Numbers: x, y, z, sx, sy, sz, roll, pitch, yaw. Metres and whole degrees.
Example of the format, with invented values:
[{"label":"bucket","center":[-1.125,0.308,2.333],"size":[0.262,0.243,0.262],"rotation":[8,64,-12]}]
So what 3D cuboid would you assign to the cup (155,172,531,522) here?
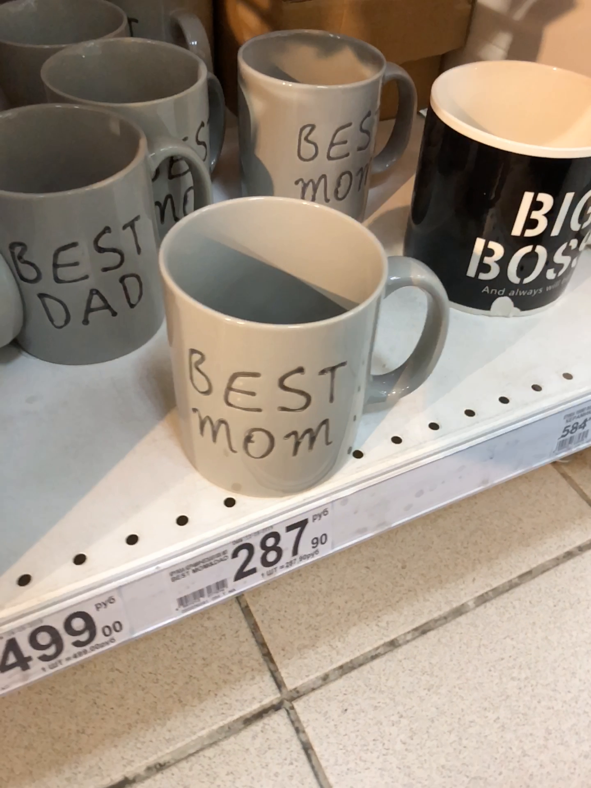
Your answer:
[{"label":"cup","center":[0.012,-0.023,0.320],"size":[0.143,0.121,0.101],"rotation":[-6,44,-6]}]
